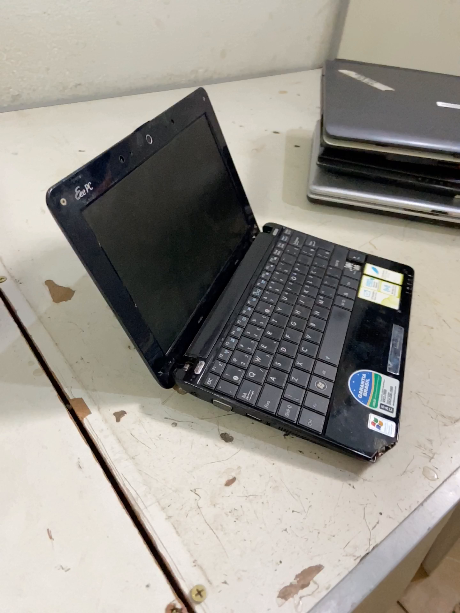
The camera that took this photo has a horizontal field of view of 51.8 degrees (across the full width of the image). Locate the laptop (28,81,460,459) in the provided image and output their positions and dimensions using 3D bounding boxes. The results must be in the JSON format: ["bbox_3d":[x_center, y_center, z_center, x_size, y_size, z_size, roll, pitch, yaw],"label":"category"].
[{"bbox_3d":[0.037,-0.060,0.412,0.265,0.131,0.260,20,43,10],"label":"laptop"}]
